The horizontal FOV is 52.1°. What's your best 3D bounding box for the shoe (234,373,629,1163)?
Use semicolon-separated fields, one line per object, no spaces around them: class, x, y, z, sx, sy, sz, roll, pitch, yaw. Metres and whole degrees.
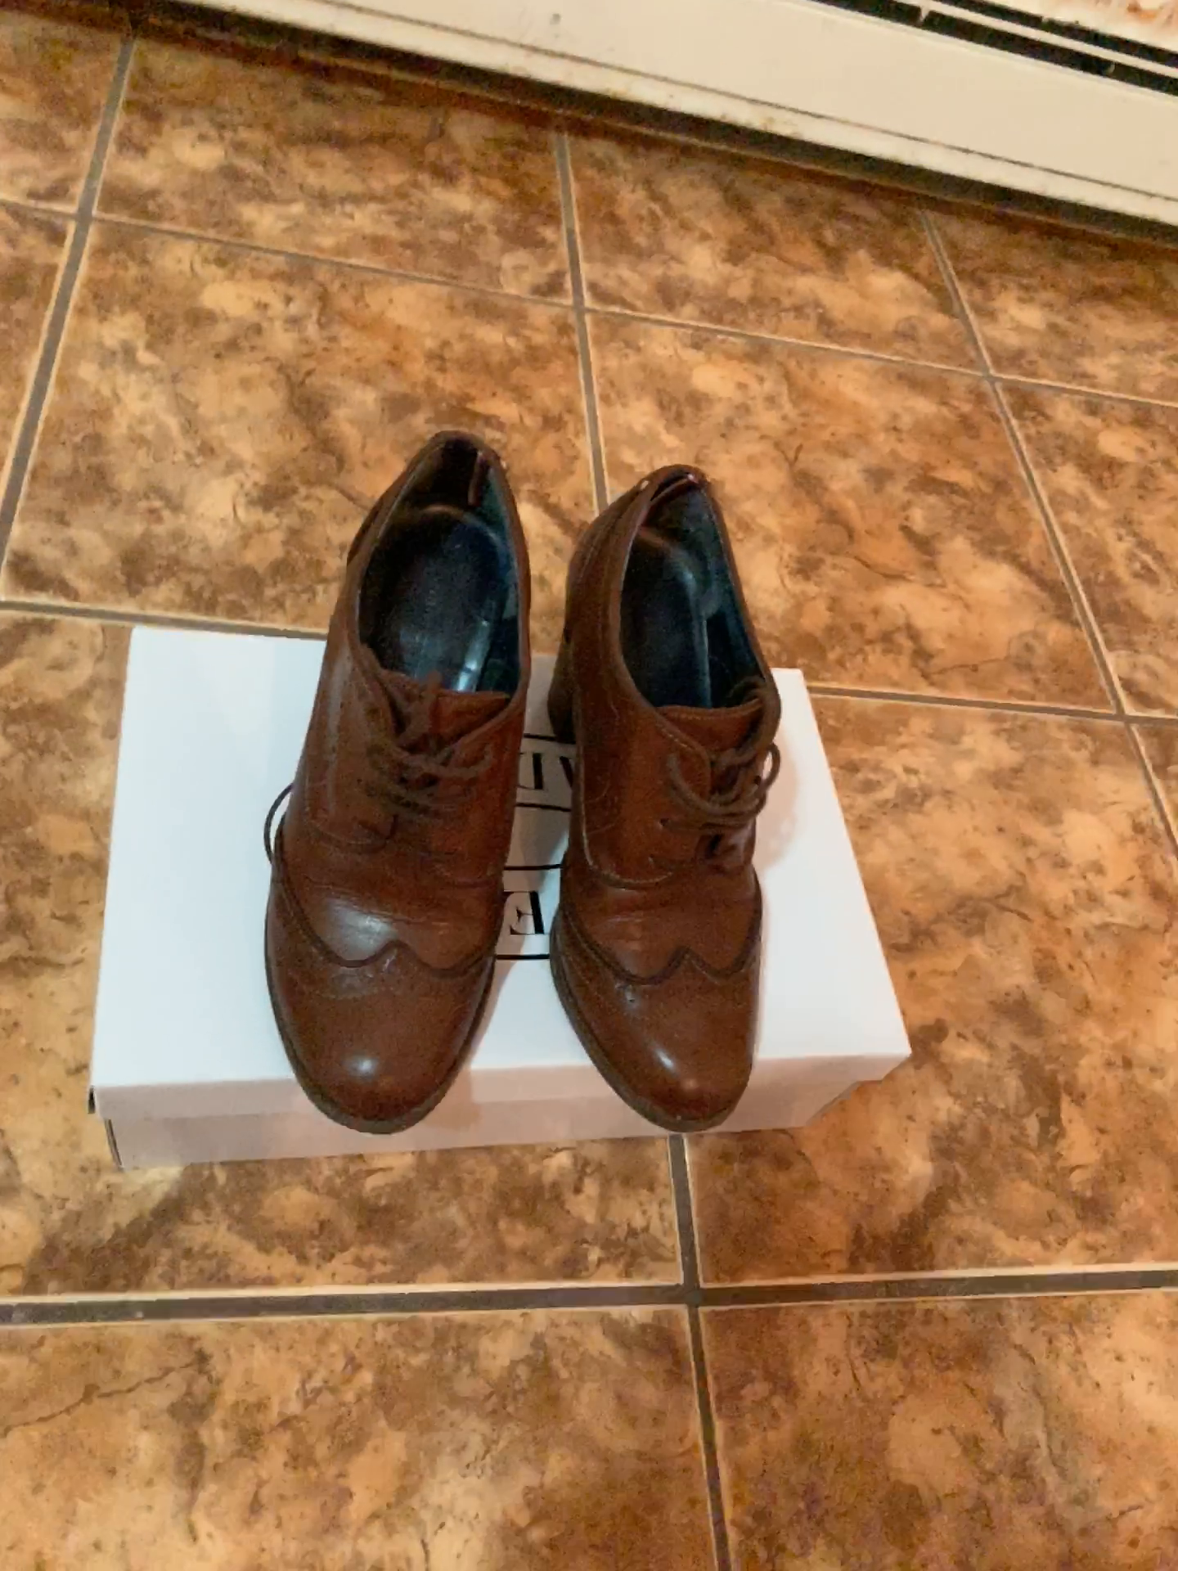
shoe;-0.059;-0.006;0.417;0.096;0.137;0.228;6;54;-14

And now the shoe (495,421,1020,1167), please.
shoe;0.040;0.000;0.443;0.096;0.137;0.228;0;55;-18
